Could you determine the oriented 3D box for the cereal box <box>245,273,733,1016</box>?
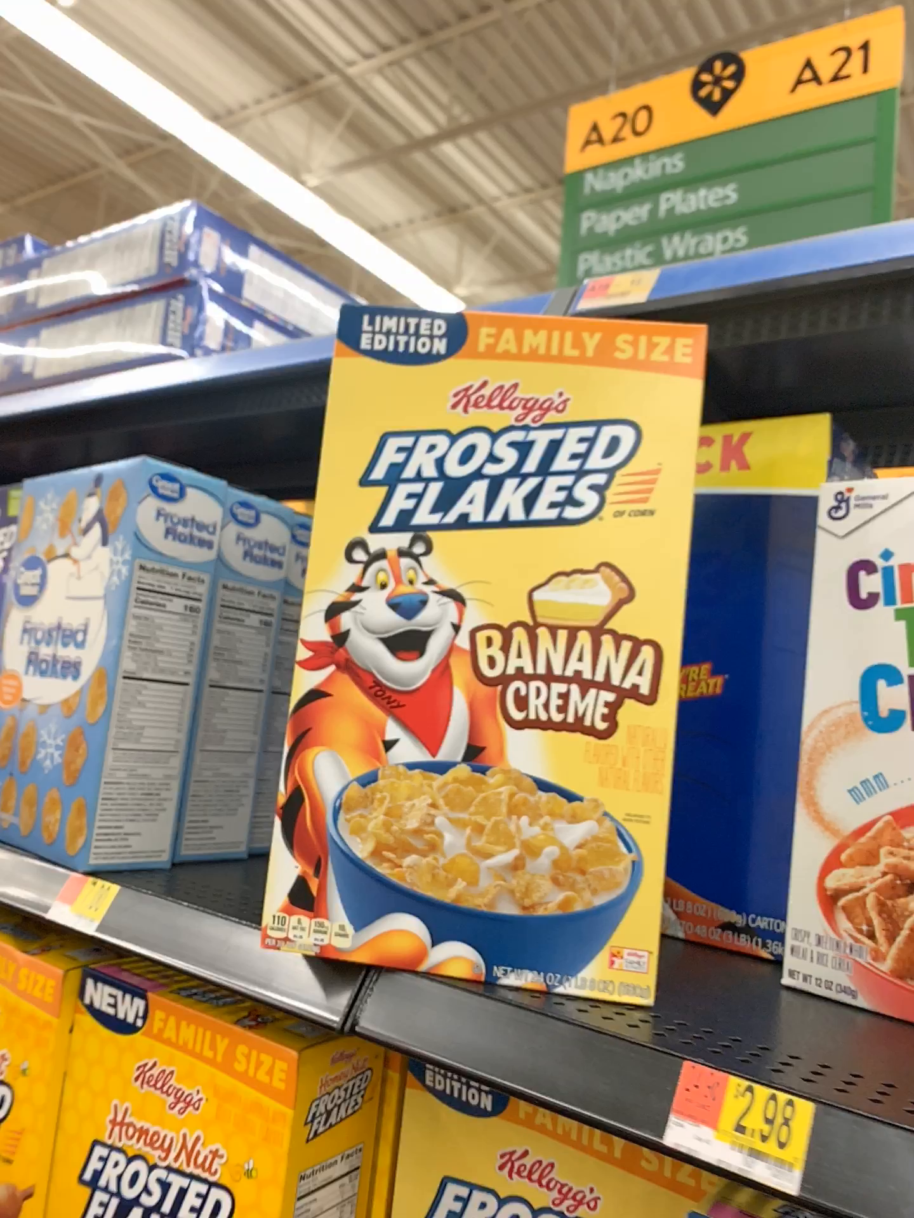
[{"bbox_3d":[0.022,0.010,0.499,0.200,0.341,0.080,6,-6,7],"label":"cereal box"}]
